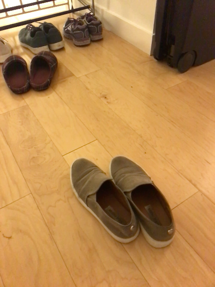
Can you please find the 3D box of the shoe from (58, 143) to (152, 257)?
[{"bbox_3d":[-0.018,0.124,0.587,0.100,0.070,0.271,-25,50,-21],"label":"shoe"}]

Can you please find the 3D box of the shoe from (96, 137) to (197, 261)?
[{"bbox_3d":[0.079,0.122,0.597,0.110,0.079,0.291,-19,48,-15],"label":"shoe"}]
